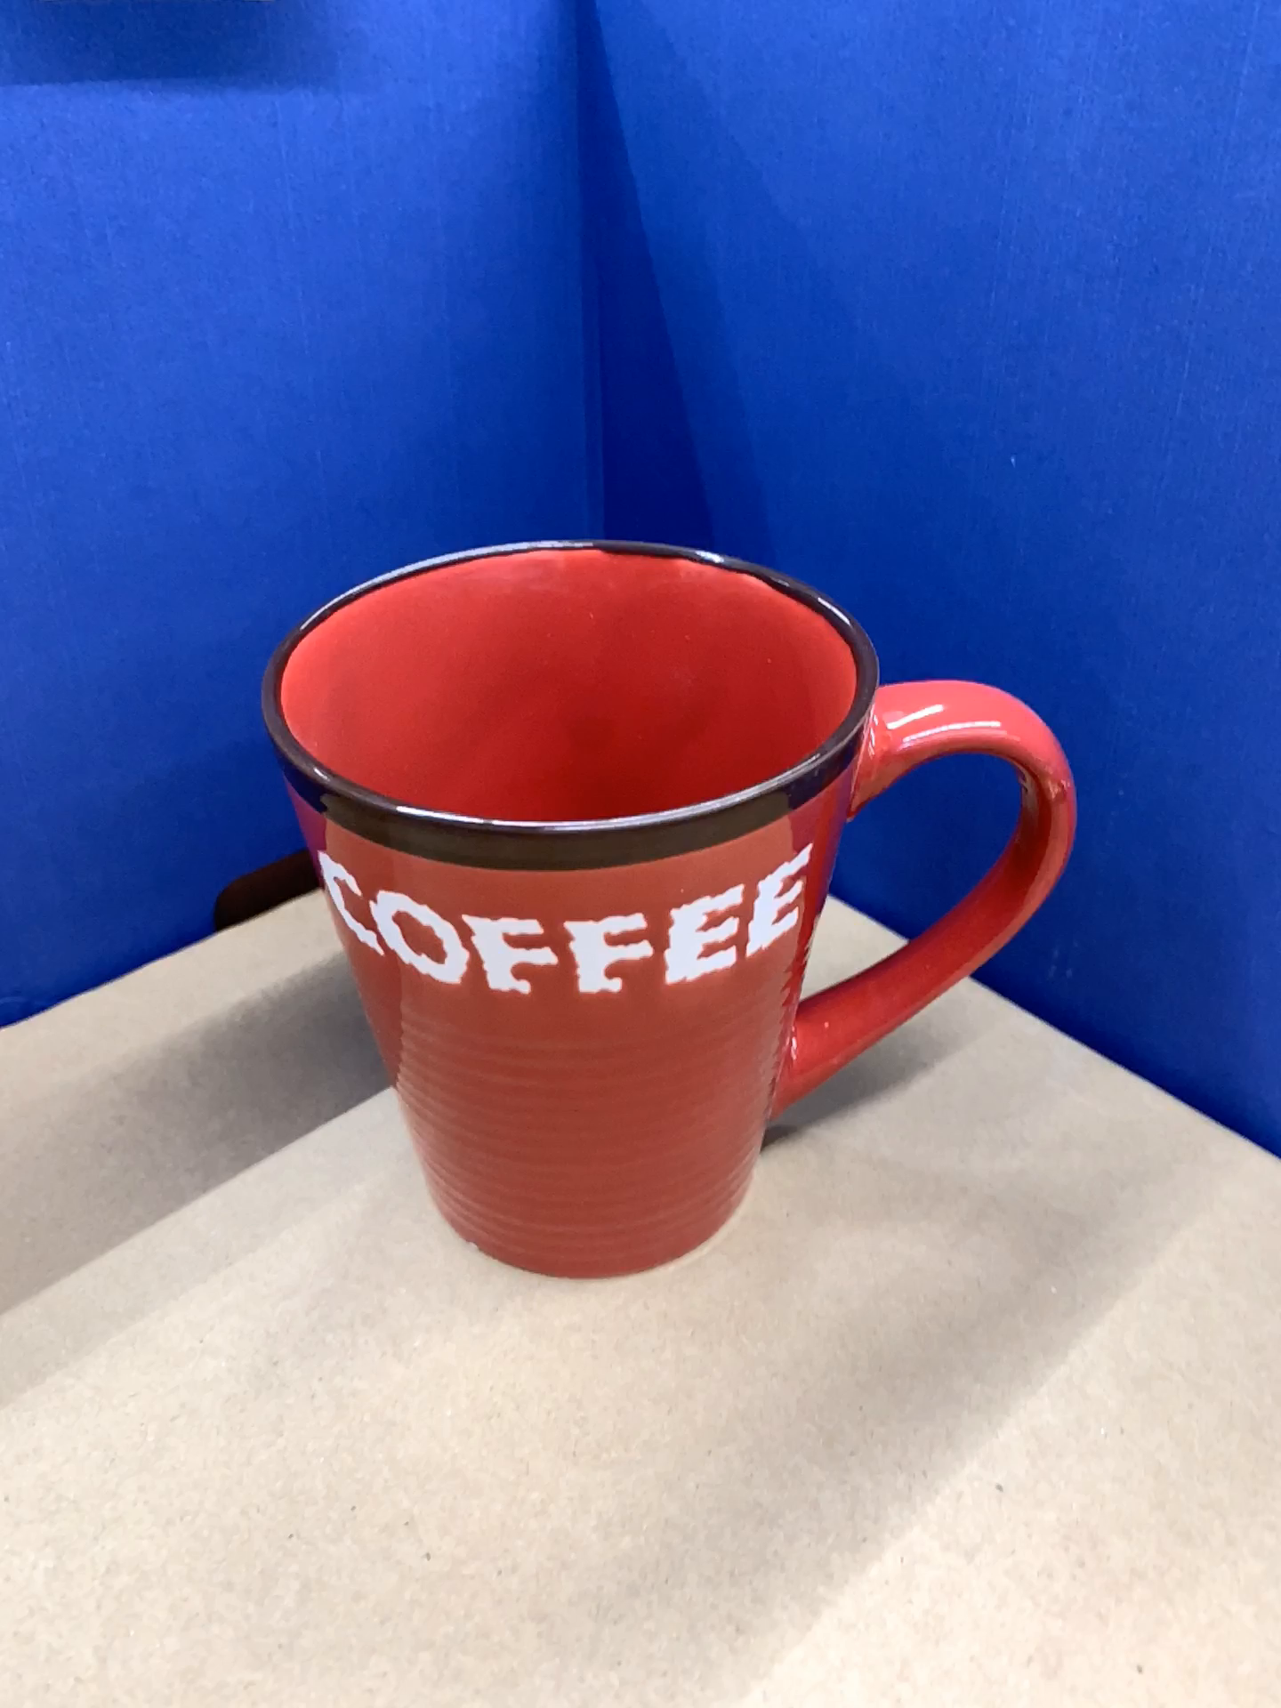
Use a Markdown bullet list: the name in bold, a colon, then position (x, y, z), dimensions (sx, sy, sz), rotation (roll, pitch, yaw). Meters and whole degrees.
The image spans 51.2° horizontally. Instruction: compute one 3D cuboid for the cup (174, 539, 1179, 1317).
- **cup**: position (0.003, 0.007, 0.232), dimensions (0.125, 0.092, 0.101), rotation (-1, 32, -2)
